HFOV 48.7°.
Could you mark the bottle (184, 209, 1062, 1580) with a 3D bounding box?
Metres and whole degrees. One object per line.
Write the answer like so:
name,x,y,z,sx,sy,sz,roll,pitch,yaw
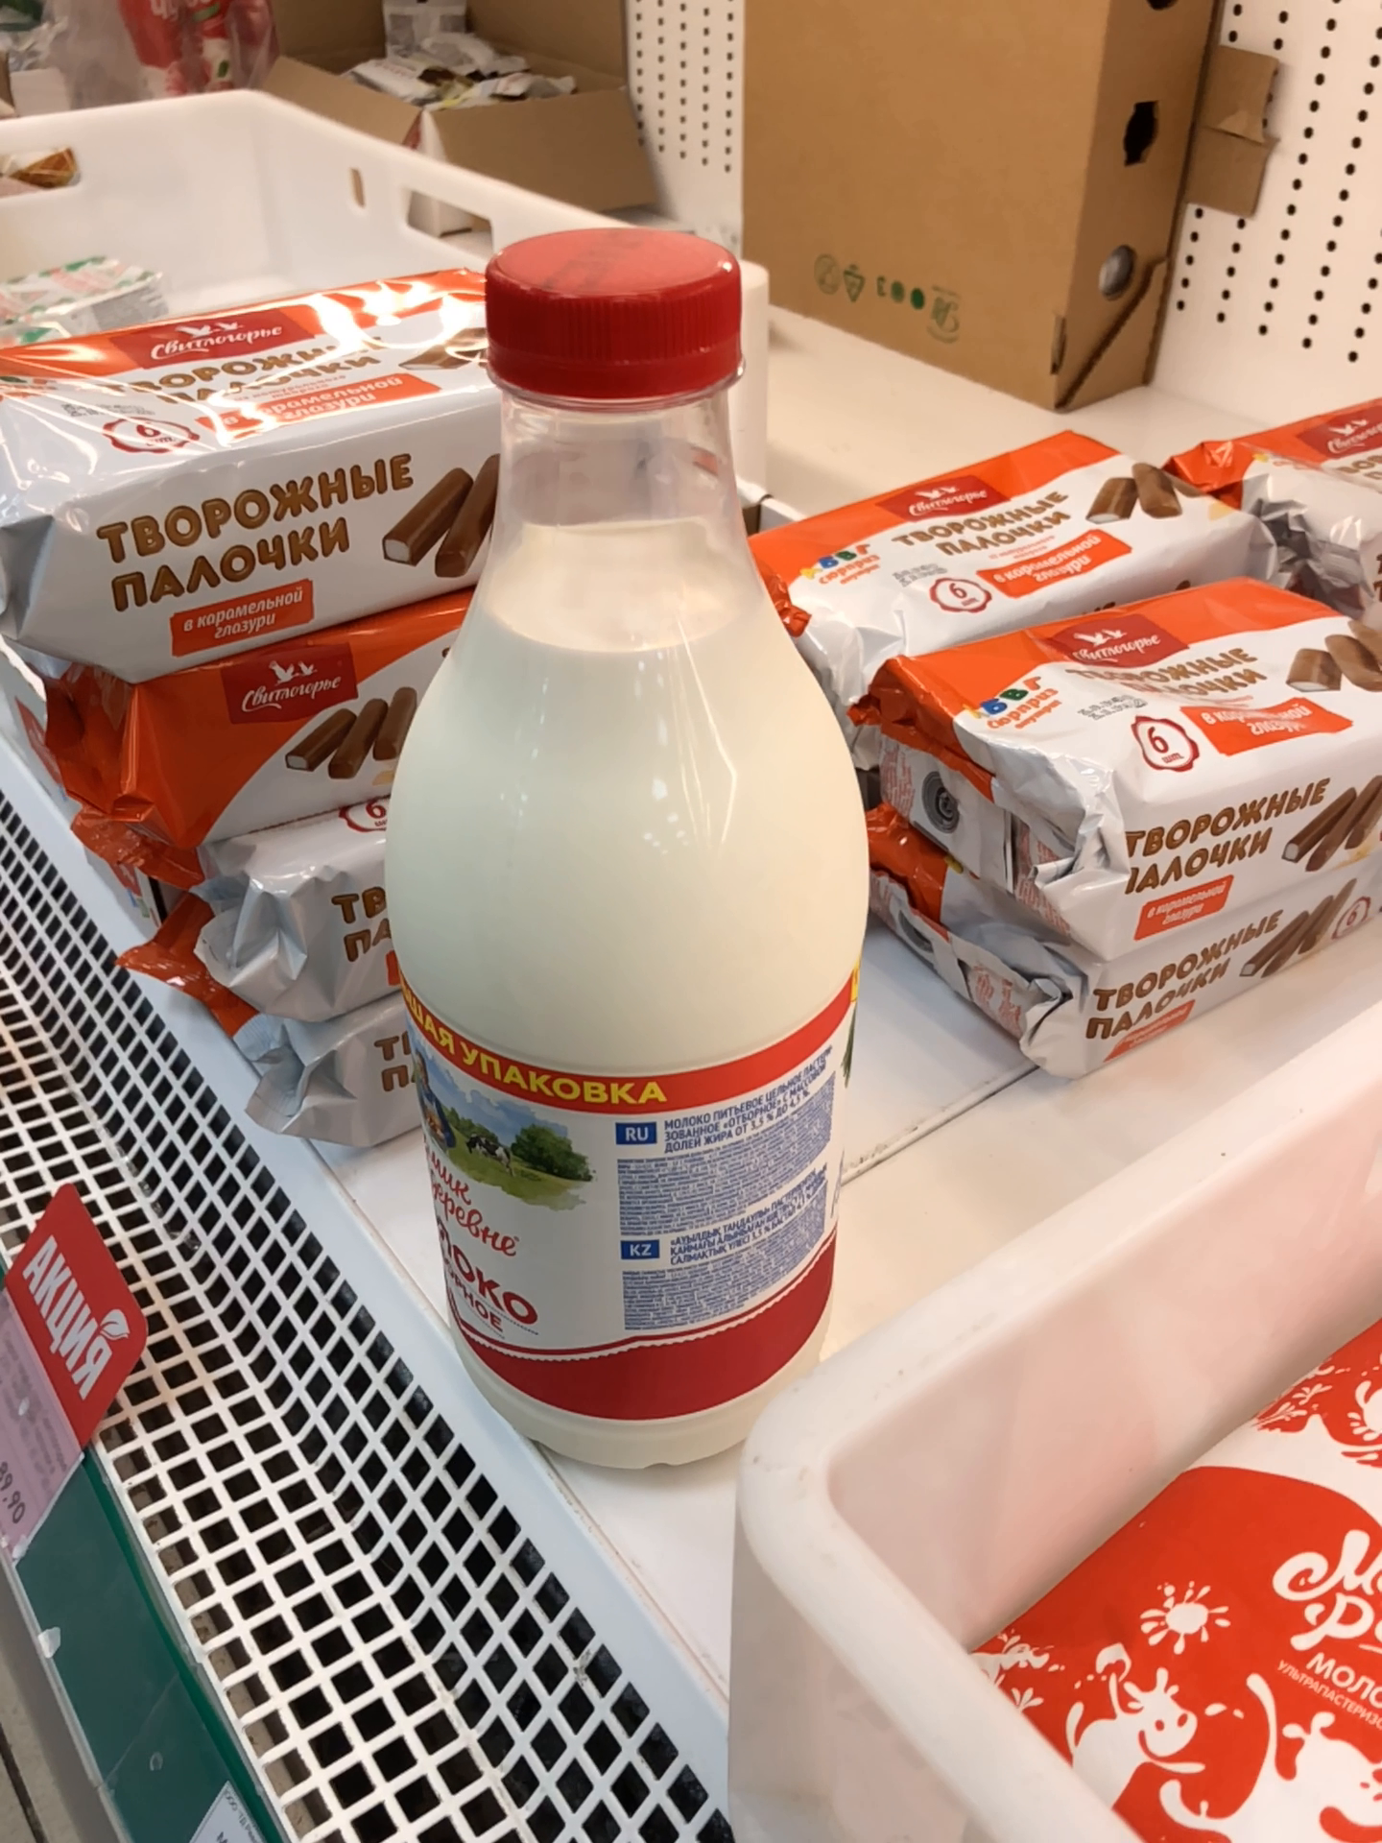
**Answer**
bottle,-0.013,0.004,0.315,0.100,0.249,0.100,0,38,0
